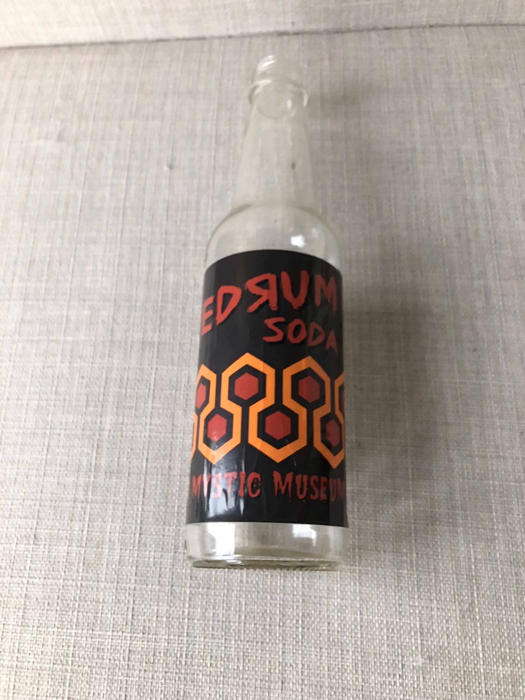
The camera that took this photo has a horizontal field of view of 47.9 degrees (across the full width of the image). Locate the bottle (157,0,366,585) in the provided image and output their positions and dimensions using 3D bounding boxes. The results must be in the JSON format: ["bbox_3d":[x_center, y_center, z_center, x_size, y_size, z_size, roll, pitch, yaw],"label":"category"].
[{"bbox_3d":[0.006,-0.030,0.244,0.062,0.070,0.231,-1,72,7],"label":"bottle"}]
